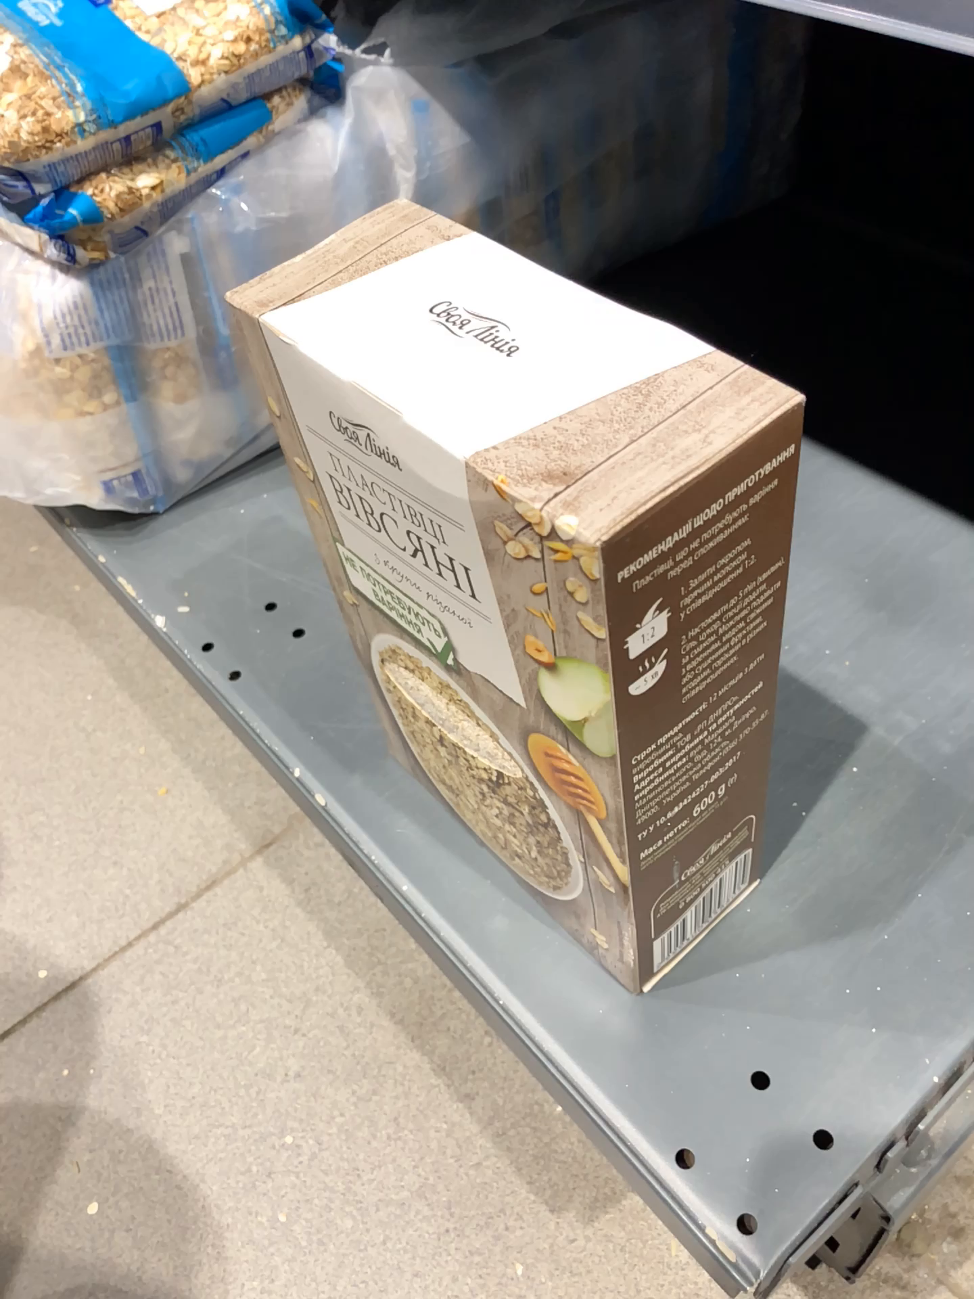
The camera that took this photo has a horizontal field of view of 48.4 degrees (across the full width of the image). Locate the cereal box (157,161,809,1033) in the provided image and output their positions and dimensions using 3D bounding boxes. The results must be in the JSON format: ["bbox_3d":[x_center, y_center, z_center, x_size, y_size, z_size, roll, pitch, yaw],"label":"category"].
[{"bbox_3d":[0.006,-0.003,0.332,0.070,0.228,0.151,-36,53,-19],"label":"cereal box"}]
